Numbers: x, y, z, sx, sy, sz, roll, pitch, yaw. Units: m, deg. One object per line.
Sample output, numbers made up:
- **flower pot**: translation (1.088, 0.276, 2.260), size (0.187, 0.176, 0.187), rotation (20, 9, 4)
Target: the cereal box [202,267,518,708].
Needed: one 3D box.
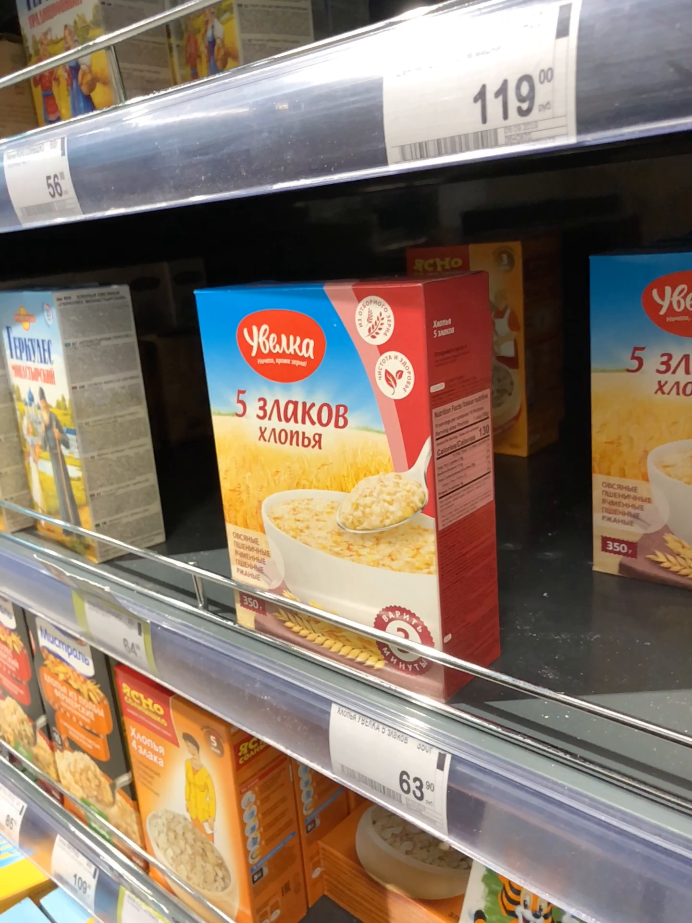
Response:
- **cereal box**: translation (0.006, 0.004, 0.386), size (0.150, 0.189, 0.050), rotation (9, 20, 40)
